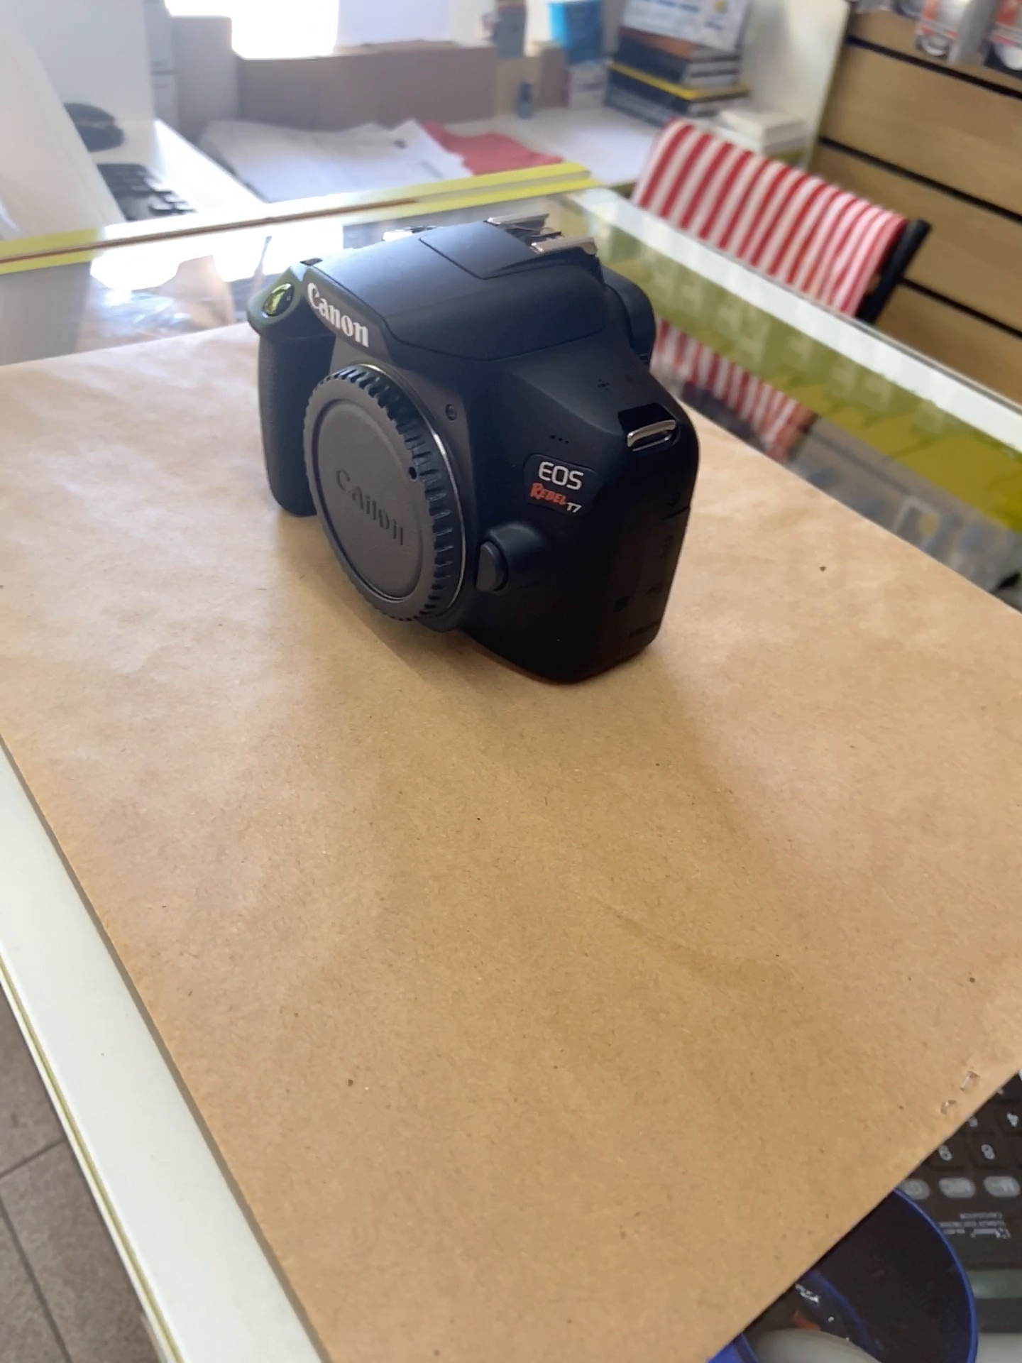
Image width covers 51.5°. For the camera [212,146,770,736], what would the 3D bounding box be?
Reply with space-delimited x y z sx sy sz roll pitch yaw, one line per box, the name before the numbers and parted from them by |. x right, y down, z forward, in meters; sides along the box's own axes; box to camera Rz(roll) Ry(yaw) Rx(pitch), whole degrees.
camera | -0.014 -0.071 0.285 0.071 0.092 0.131 -23 50 -29
